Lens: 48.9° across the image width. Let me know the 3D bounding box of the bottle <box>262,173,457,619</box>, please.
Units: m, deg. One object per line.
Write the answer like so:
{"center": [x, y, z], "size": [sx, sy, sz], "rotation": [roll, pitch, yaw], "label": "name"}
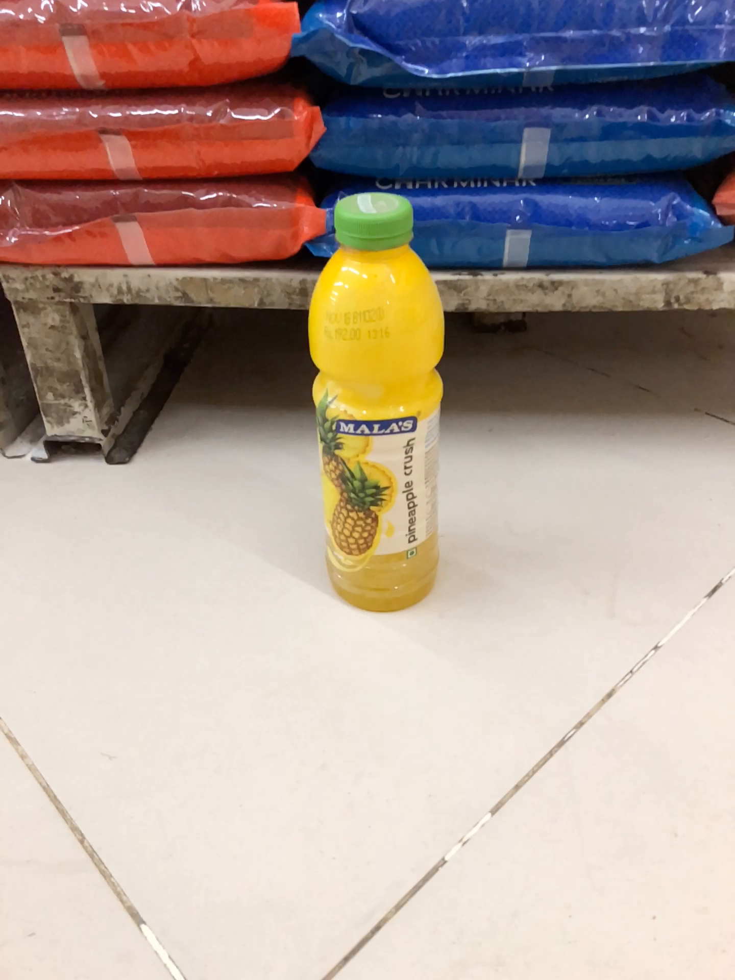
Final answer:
{"center": [0.002, -0.045, 0.481], "size": [0.090, 0.248, 0.091], "rotation": [-2, 36, 1], "label": "bottle"}
